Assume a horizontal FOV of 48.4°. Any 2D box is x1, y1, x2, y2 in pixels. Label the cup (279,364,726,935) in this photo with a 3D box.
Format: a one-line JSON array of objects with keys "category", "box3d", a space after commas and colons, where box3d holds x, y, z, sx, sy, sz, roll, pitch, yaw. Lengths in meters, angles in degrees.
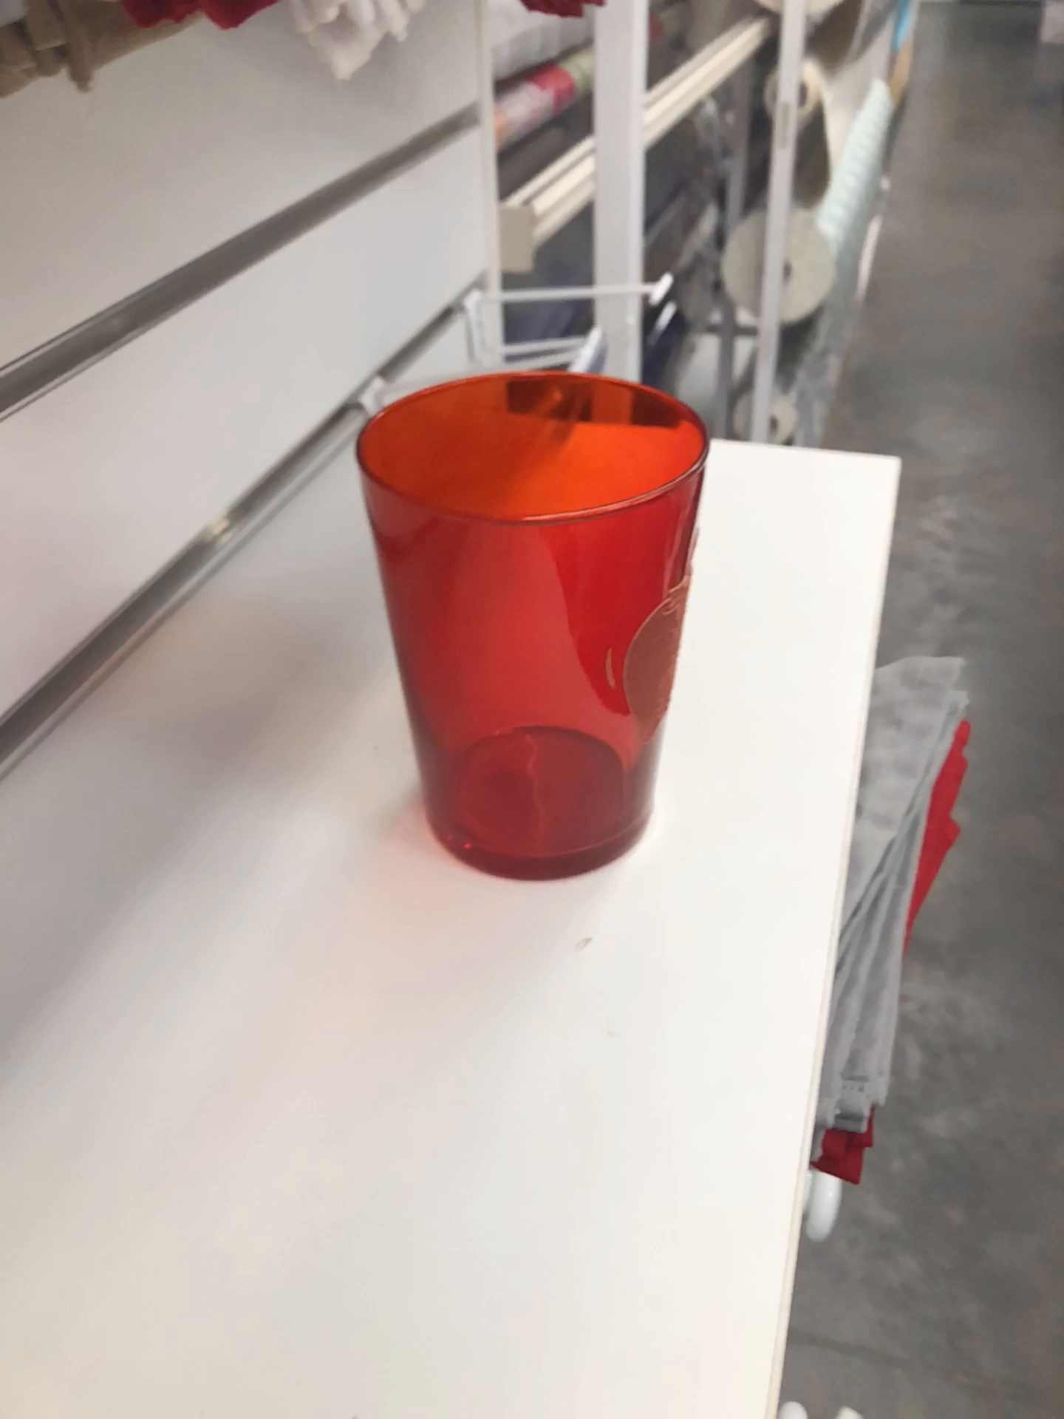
[{"category": "cup", "box3d": [-0.002, -0.020, 0.337, 0.091, 0.120, 0.092, -1, 36, 1]}]
